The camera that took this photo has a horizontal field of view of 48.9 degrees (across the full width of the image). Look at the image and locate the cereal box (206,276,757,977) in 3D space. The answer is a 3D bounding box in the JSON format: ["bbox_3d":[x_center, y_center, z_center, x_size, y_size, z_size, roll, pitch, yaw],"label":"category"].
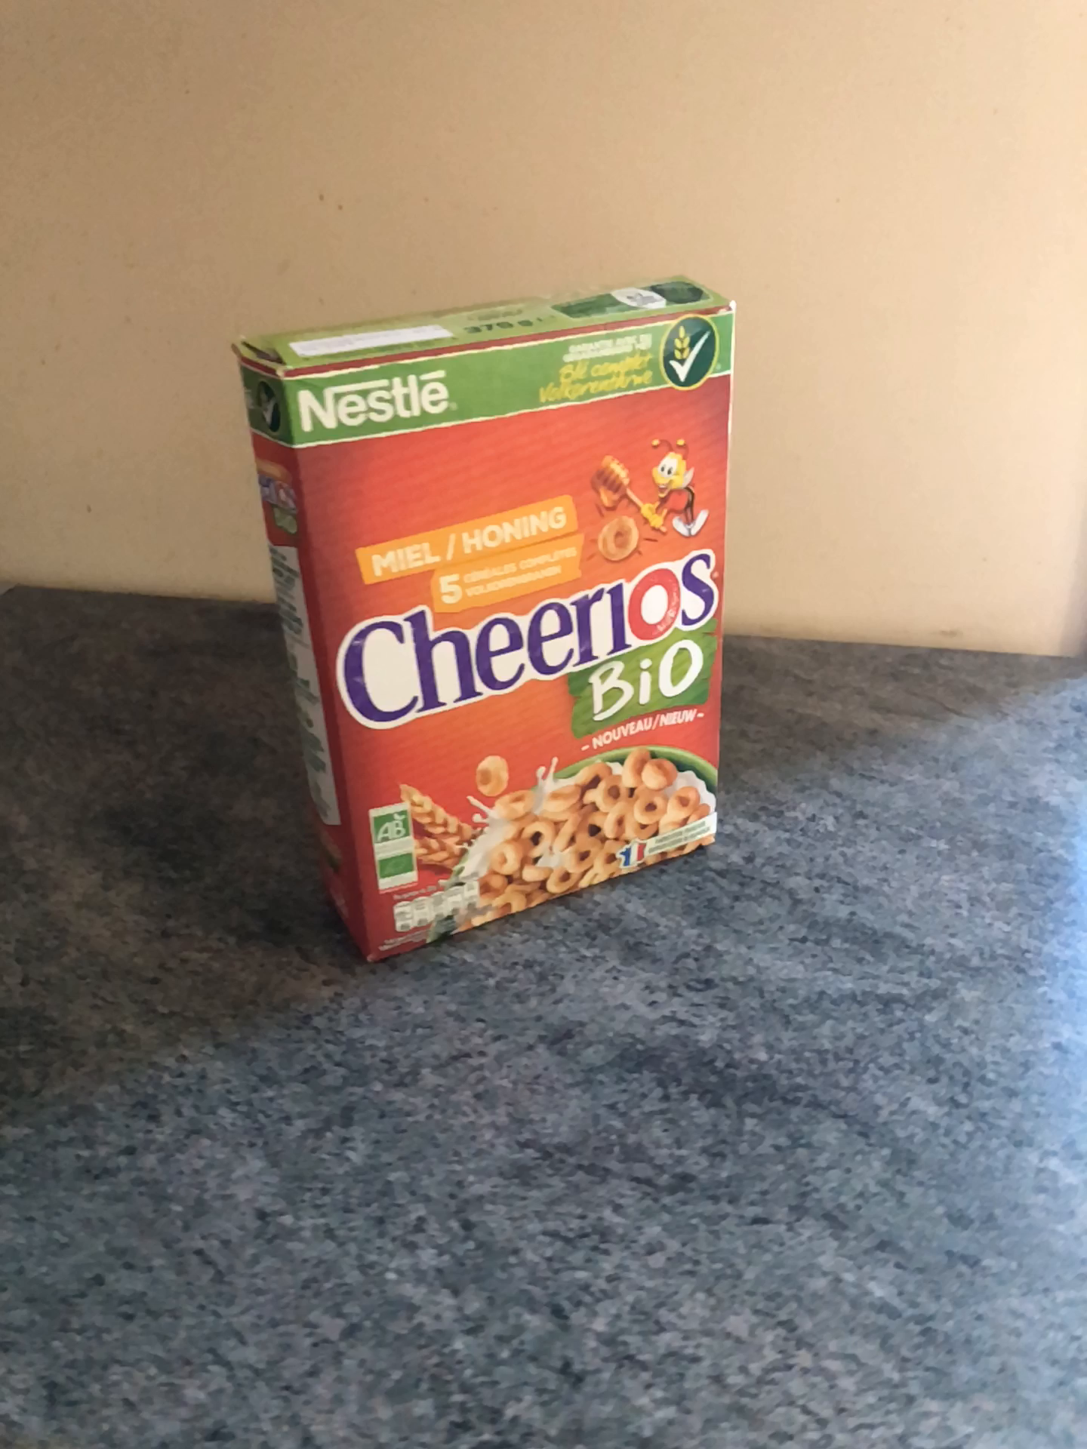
[{"bbox_3d":[-0.016,-0.046,0.528,0.201,0.259,0.080,-16,31,-22],"label":"cereal box"}]
